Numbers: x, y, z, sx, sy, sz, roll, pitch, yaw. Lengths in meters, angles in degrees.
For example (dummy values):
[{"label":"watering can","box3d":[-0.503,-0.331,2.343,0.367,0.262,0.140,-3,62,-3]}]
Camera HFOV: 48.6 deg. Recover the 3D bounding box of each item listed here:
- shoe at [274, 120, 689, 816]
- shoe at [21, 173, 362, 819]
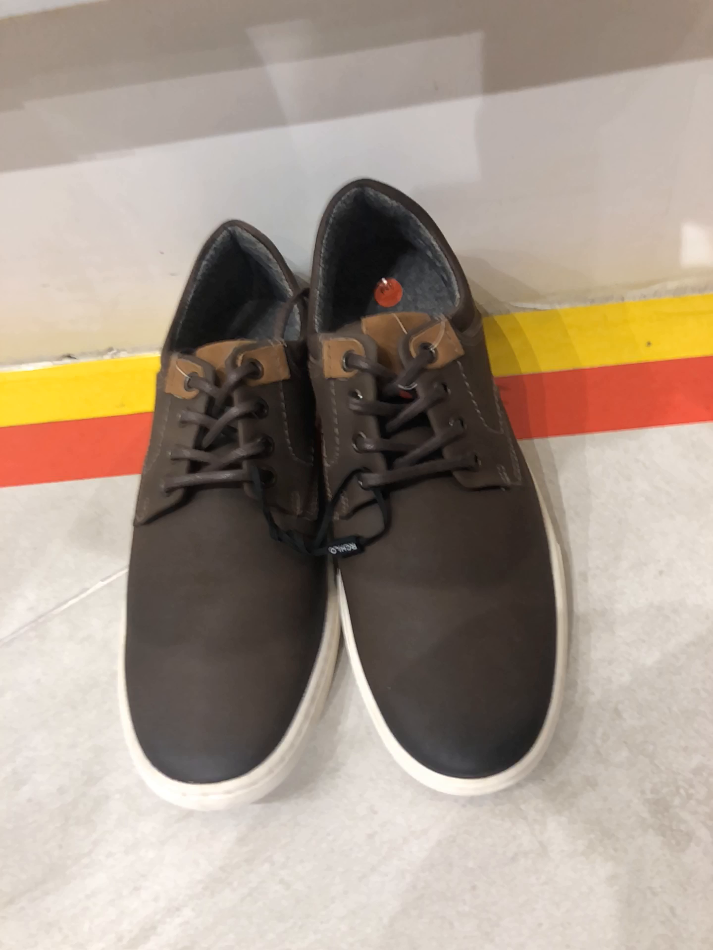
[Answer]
[{"label":"shoe","box3d":[0.037,-0.007,0.340,0.100,0.100,0.271,-10,65,3]},{"label":"shoe","box3d":[-0.058,0.005,0.360,0.100,0.100,0.271,-5,63,7]}]
